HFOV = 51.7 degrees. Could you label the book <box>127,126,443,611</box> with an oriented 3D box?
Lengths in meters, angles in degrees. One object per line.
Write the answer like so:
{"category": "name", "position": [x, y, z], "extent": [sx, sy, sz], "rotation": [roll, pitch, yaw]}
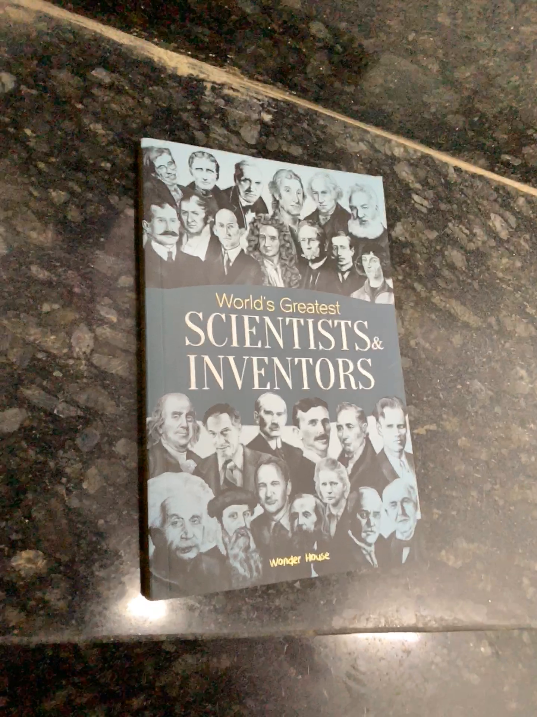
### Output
{"category": "book", "position": [0.008, -0.002, 0.262], "extent": [0.140, 0.020, 0.200], "rotation": [1, 77, -25]}
